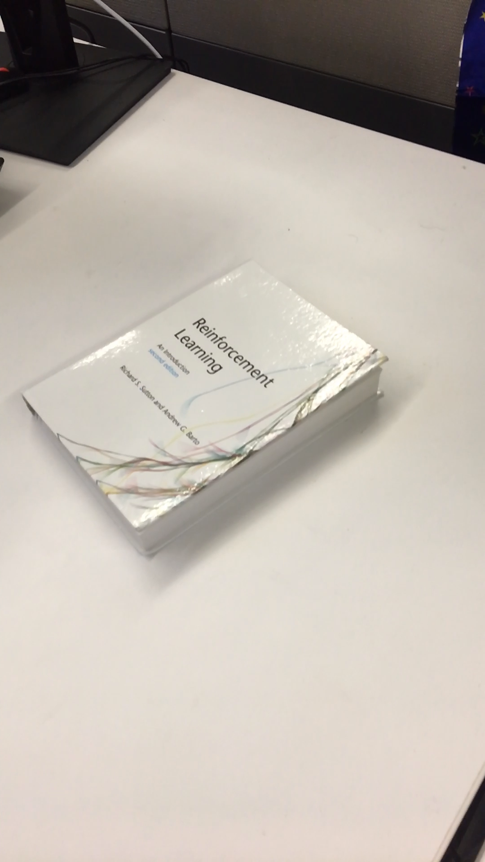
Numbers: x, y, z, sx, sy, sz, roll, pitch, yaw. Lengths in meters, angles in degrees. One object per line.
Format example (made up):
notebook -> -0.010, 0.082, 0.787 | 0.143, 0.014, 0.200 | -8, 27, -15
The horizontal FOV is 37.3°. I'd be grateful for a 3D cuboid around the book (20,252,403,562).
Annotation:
book -> -0.025, -0.035, 0.570 | 0.240, 0.030, 0.180 | -33, 57, -19
